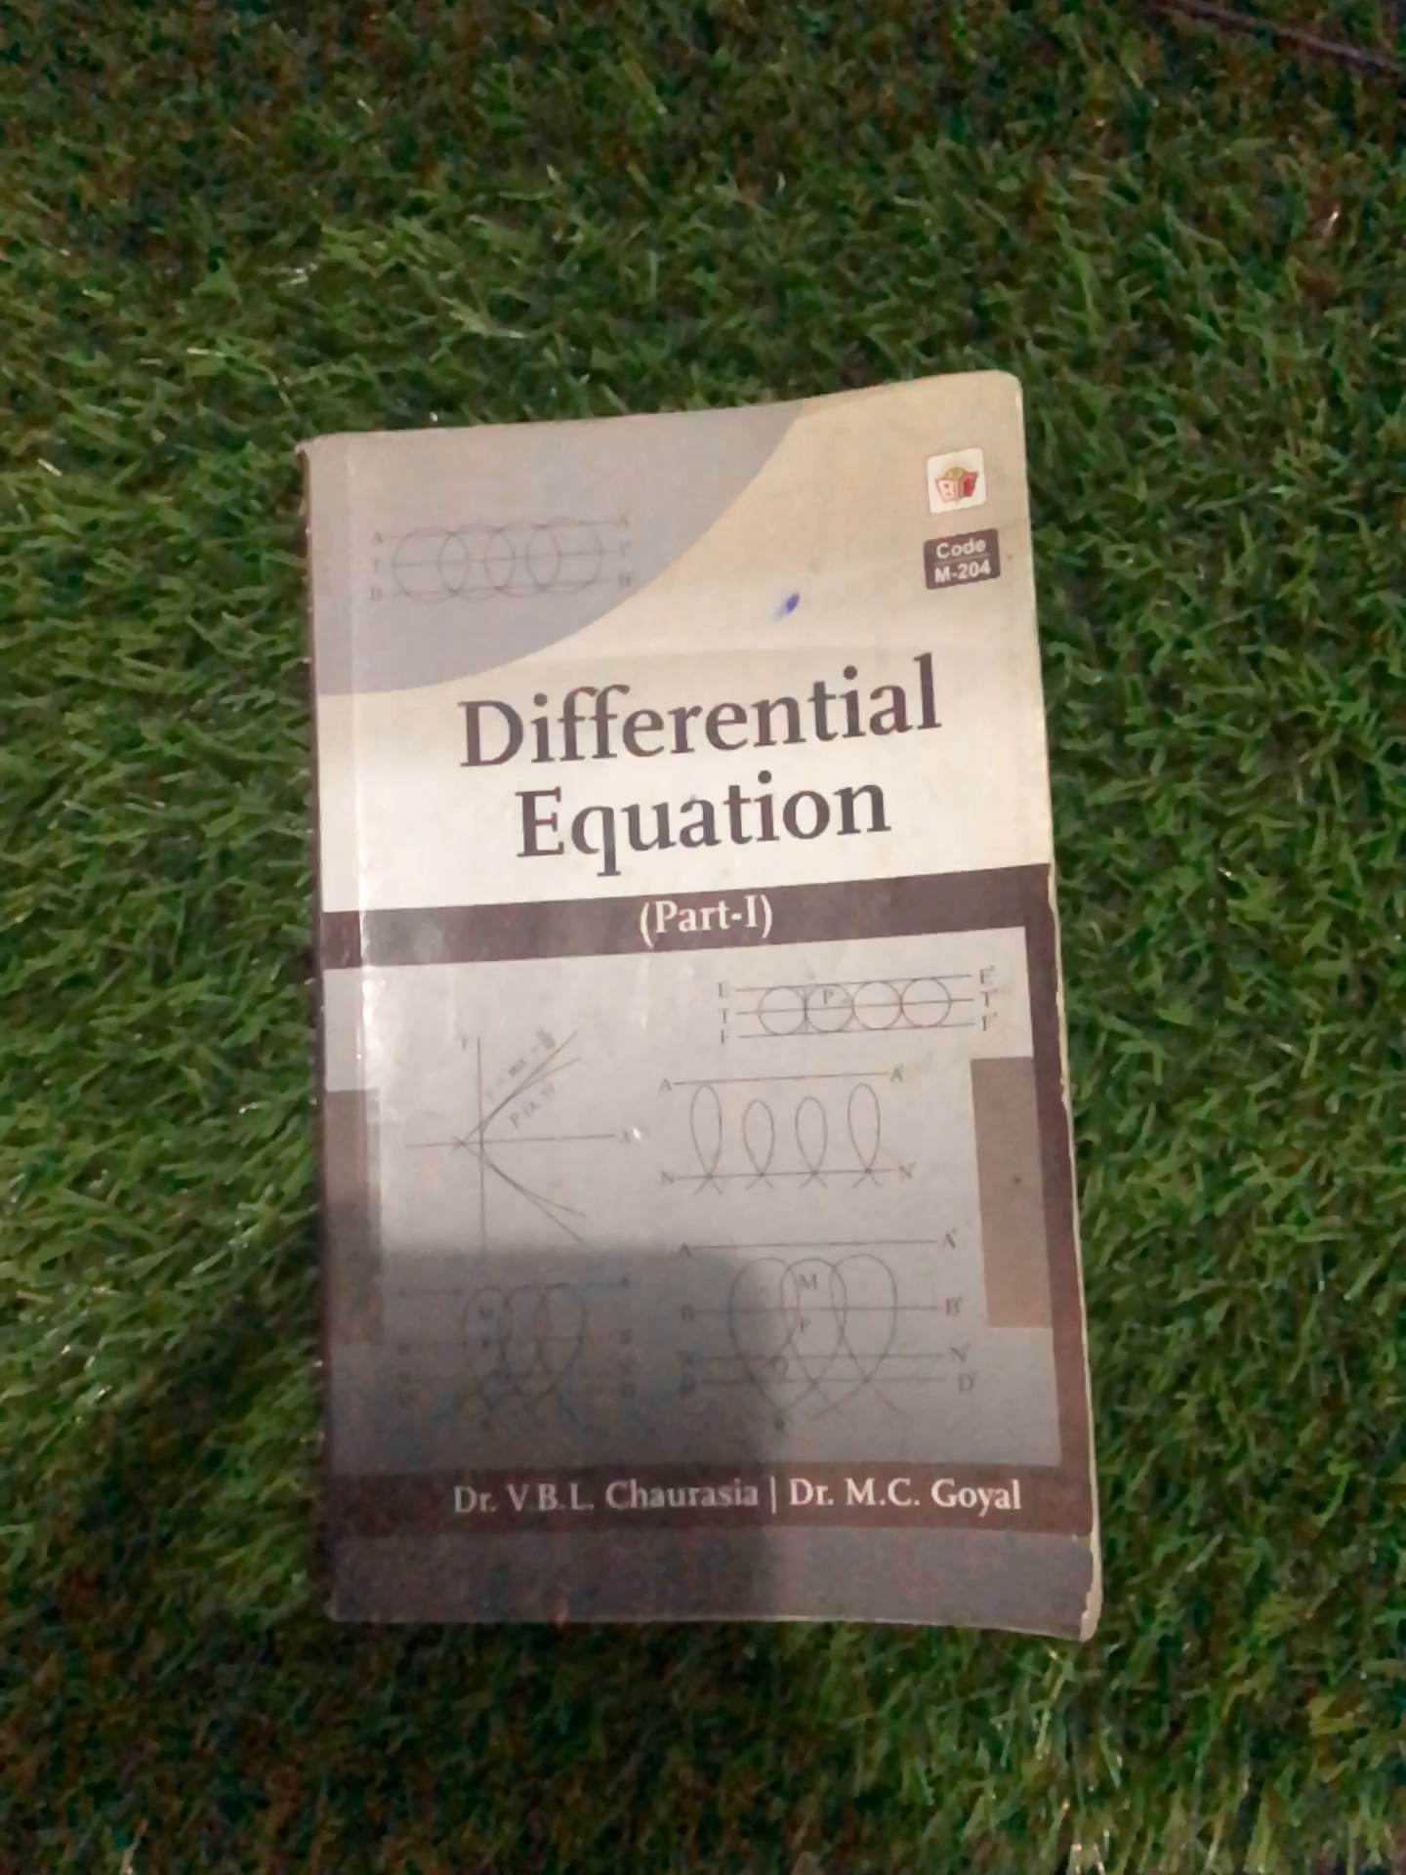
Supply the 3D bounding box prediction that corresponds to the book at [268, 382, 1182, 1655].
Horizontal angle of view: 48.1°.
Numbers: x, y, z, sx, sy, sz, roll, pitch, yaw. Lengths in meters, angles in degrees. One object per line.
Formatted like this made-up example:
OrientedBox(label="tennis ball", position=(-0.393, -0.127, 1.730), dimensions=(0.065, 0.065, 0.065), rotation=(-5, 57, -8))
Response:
OrientedBox(label="book", position=(0.000, 0.012, 0.270), dimensions=(0.140, 0.030, 0.200), rotation=(-3, 83, 4))
